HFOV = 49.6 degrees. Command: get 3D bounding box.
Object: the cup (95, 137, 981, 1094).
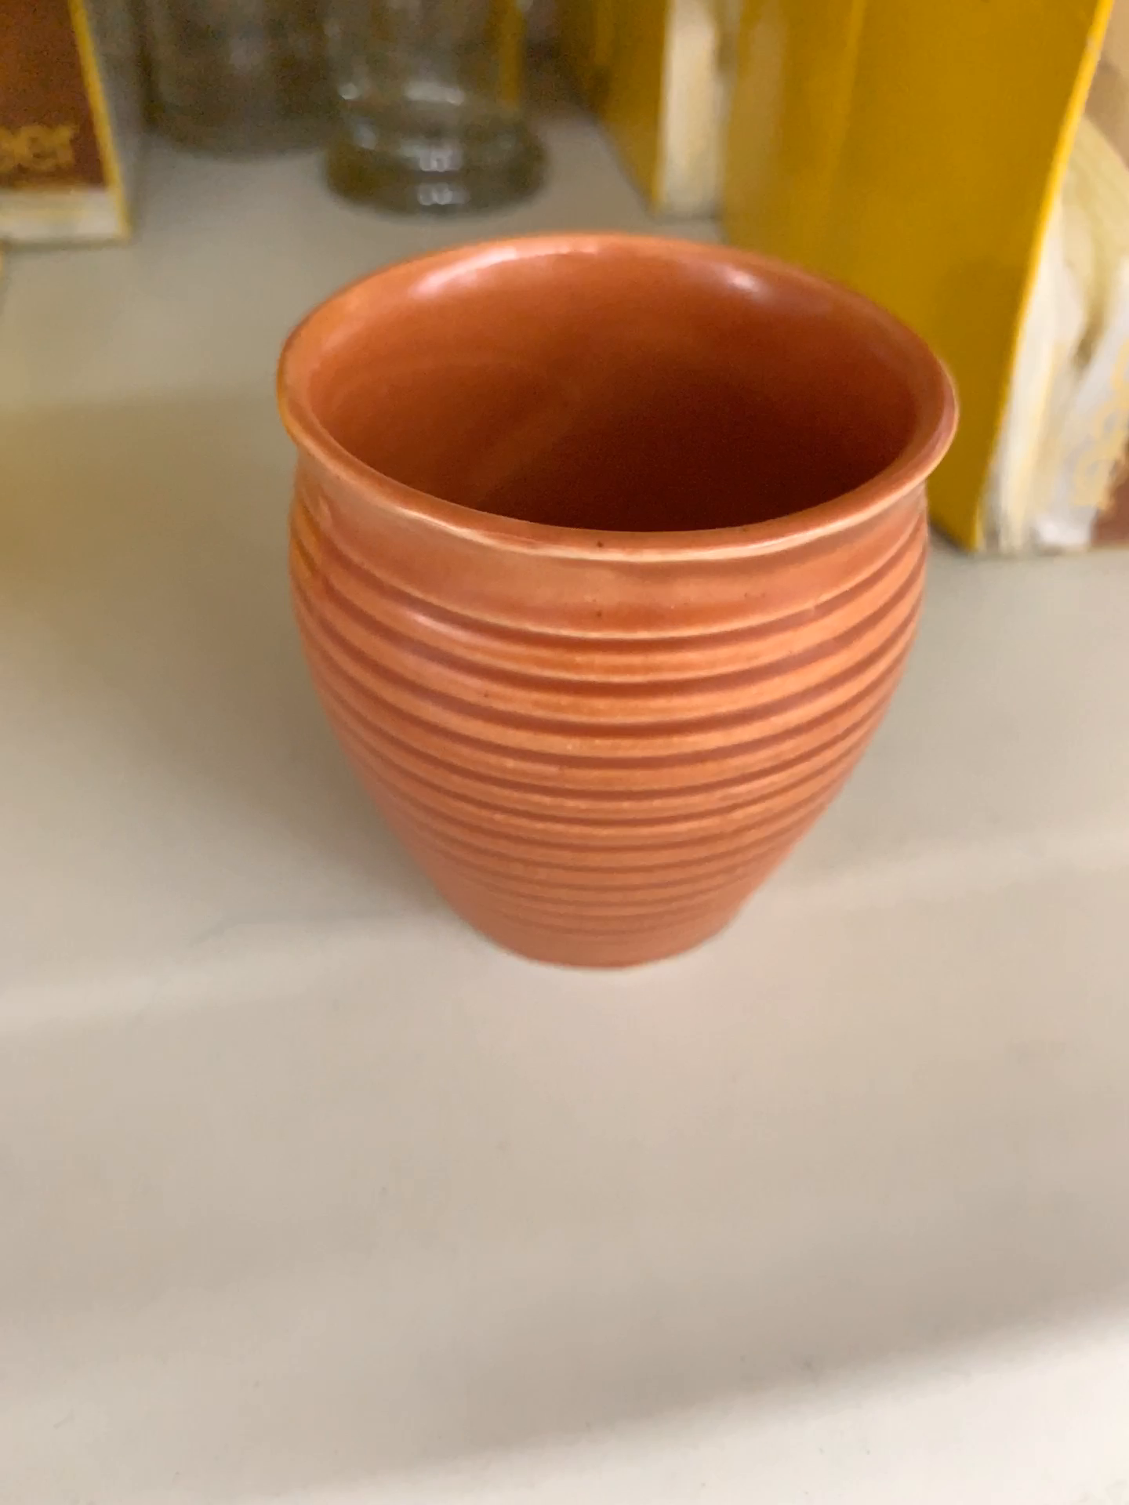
[{"bbox_3d":[0.001,-0.017,0.134,0.060,0.069,0.060,1,44,-1],"label":"cup"}]
